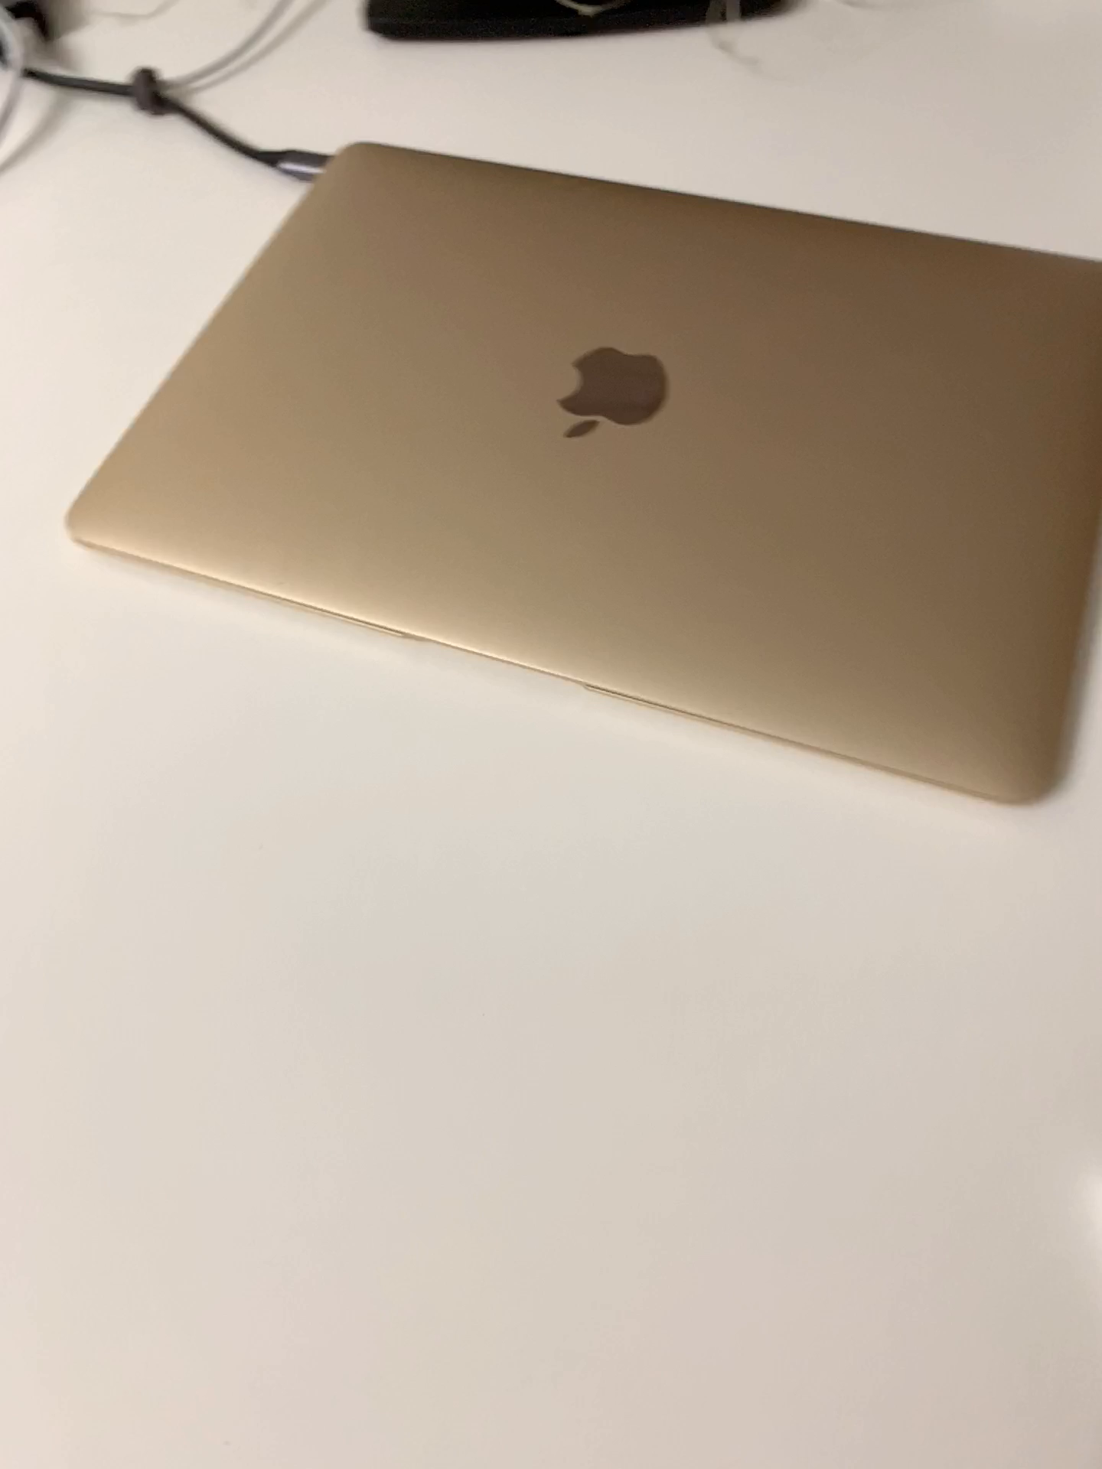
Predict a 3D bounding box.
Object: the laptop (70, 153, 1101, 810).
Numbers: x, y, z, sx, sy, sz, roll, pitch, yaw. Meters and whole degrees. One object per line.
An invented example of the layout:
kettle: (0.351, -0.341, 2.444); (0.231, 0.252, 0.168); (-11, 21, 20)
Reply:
laptop: (0.016, -0.092, 0.327); (0.255, 0.009, 0.175); (16, 63, 15)
